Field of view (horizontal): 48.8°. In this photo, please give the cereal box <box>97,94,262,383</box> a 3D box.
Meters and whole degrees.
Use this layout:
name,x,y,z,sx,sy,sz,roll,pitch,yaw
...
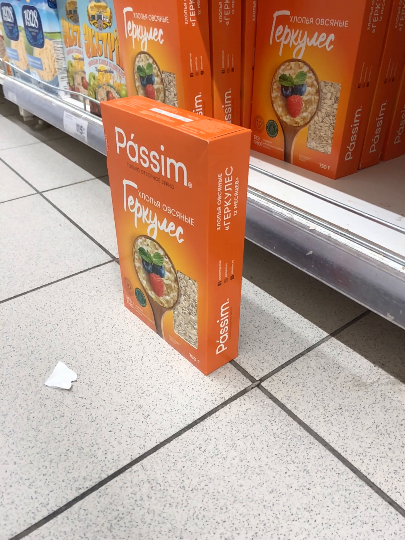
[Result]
name,x,y,z,sx,sy,sz,roll,pitch,yaw
cereal box,-0.027,-0.033,0.459,0.050,0.249,0.171,-25,41,-33
